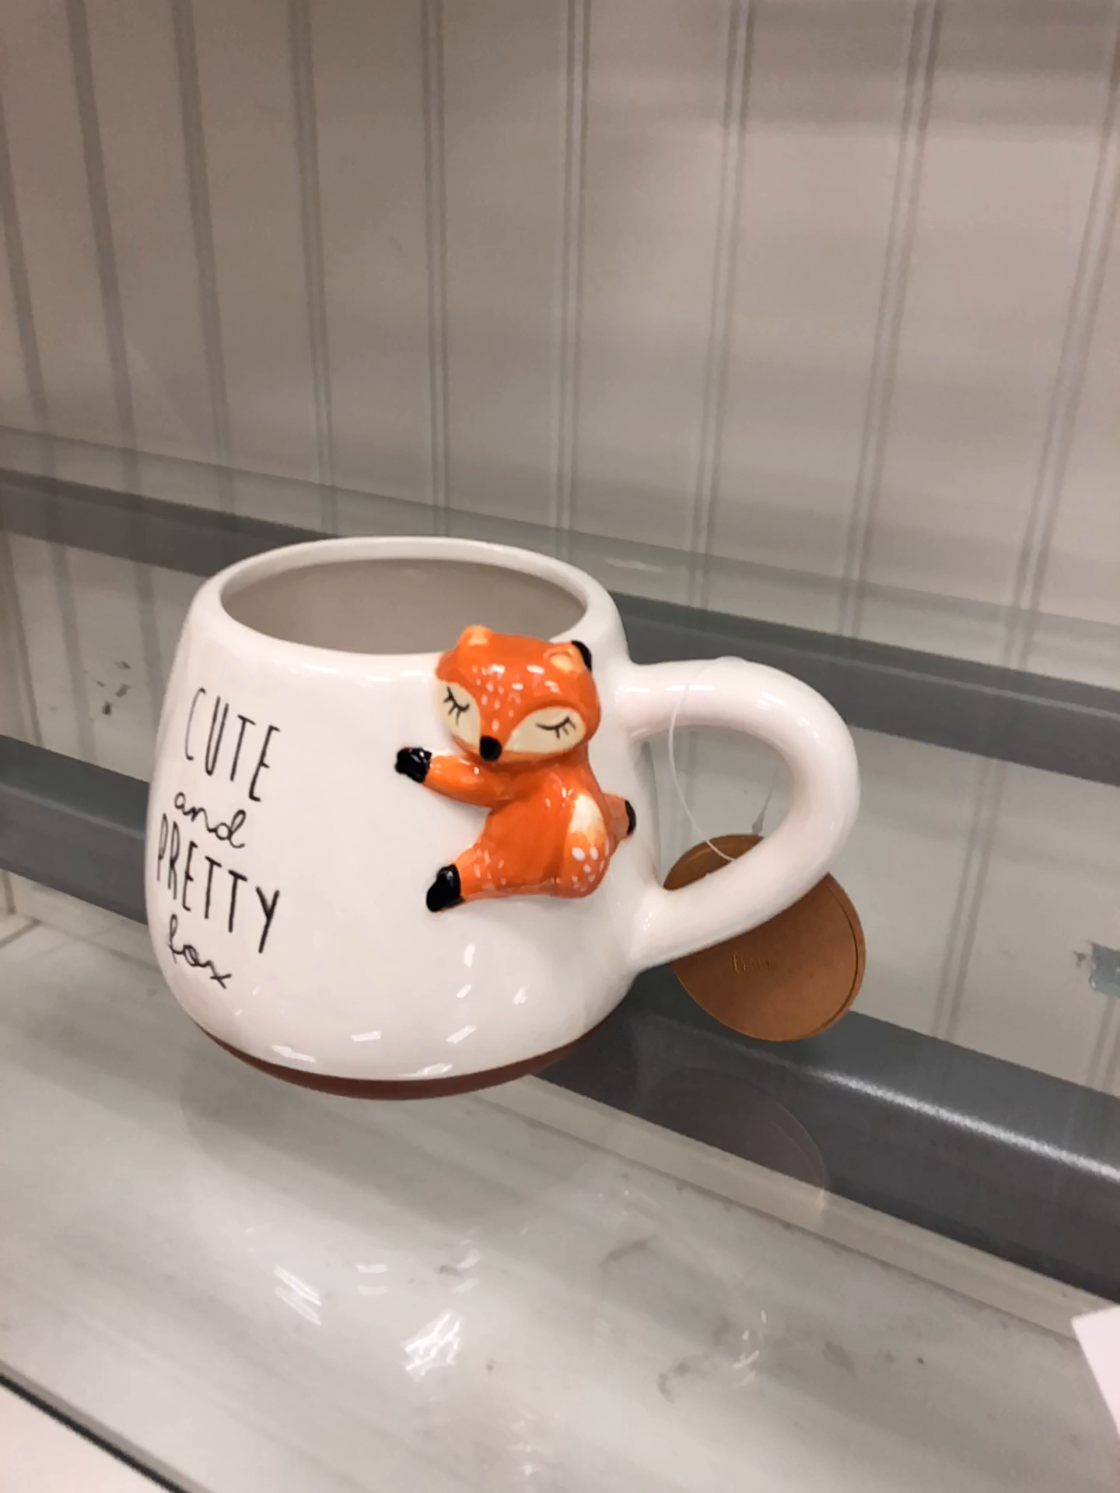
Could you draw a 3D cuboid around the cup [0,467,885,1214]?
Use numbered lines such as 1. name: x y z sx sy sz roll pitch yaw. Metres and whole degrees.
1. cup: -0.016 0.006 0.247 0.143 0.089 0.101 8 26 13
